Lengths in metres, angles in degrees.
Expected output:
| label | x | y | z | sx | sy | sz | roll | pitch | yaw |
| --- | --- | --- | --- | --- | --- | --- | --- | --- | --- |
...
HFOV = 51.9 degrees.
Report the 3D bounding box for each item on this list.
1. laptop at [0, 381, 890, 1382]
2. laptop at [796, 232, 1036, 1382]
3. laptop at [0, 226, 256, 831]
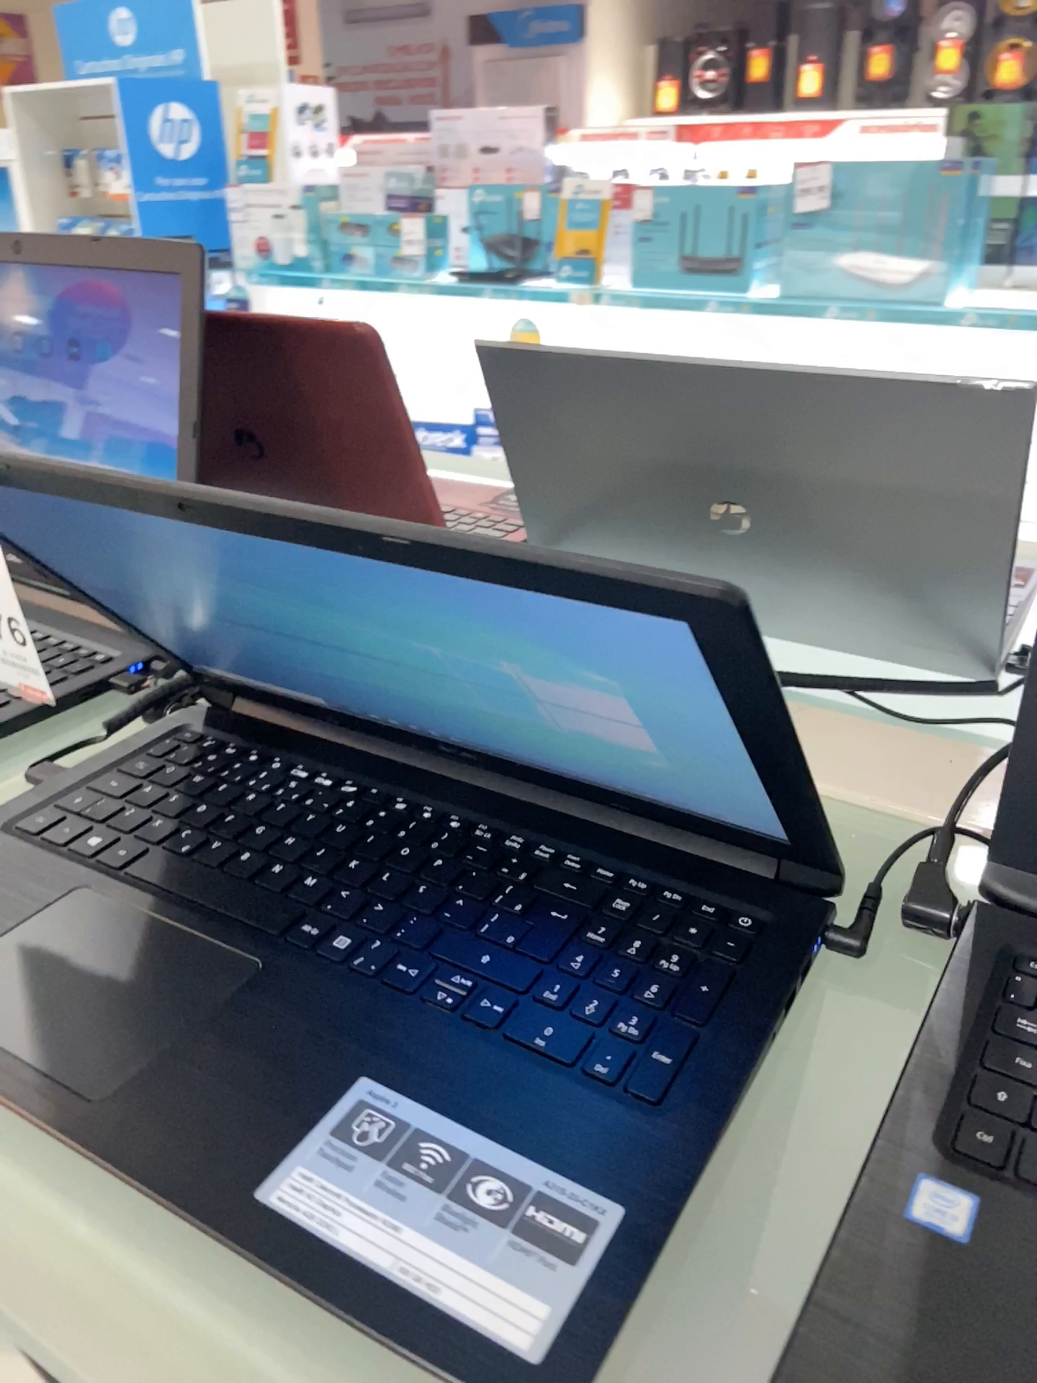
| label | x | y | z | sx | sy | sz | roll | pitch | yaw |
| --- | --- | --- | --- | --- | --- | --- | --- | --- | --- |
| laptop | -0.094 | 0.010 | 0.403 | 0.379 | 0.185 | 0.240 | 14 | 30 | 29 |
| laptop | 0.302 | 0.056 | 0.220 | 0.399 | 0.247 | 0.285 | 15 | 31 | 29 |
| laptop | -0.444 | -0.154 | 0.686 | 0.400 | 0.231 | 0.327 | 16 | 32 | 31 |
